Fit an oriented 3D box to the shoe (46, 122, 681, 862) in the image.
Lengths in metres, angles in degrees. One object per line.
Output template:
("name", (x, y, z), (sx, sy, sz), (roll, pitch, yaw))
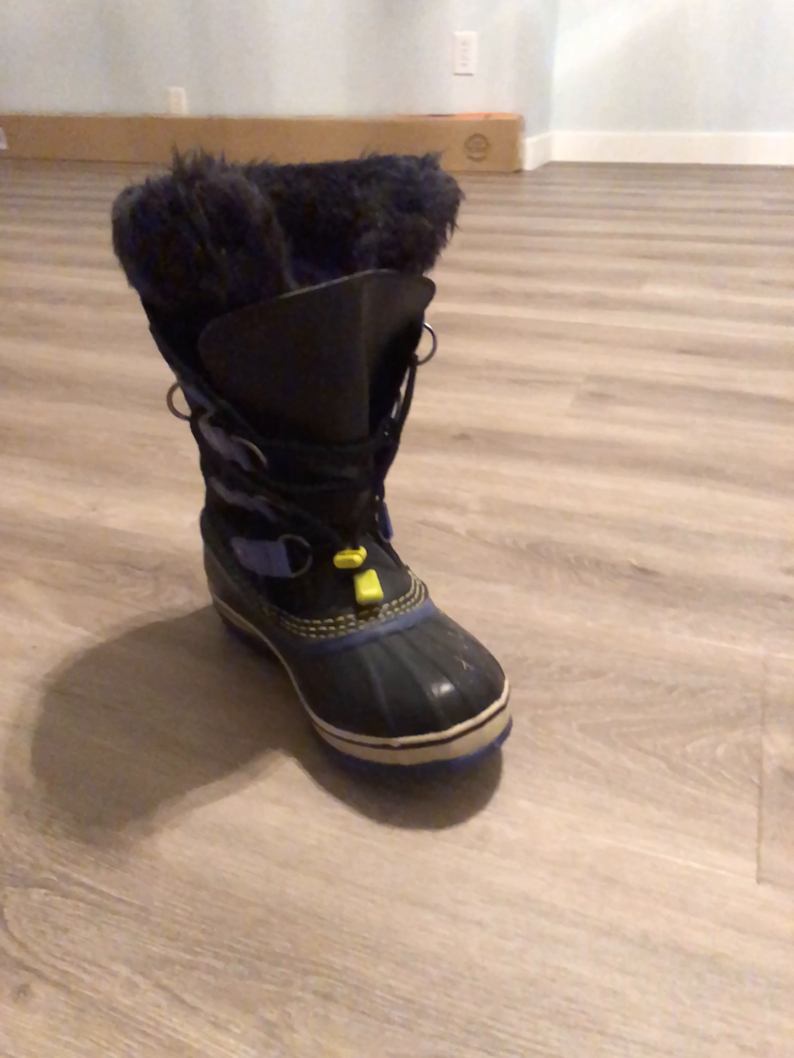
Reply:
("shoe", (-0.028, -0.047, 0.440), (0.170, 0.269, 0.241), (-19, 32, -30))
